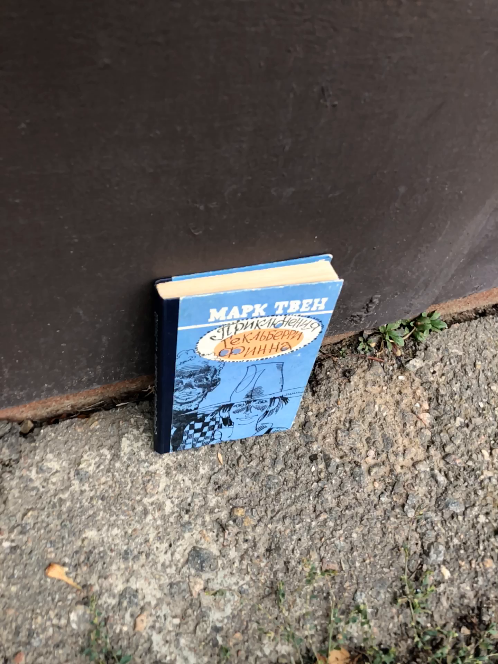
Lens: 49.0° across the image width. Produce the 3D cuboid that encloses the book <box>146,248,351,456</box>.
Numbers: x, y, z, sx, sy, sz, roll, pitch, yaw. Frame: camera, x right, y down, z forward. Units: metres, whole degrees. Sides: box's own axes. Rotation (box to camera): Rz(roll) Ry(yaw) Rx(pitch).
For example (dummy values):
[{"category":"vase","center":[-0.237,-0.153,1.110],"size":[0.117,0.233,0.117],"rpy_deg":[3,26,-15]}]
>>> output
[{"category":"book","center":[-0.007,0.024,0.423],"size":[0.130,0.186,0.030],"rpy_deg":[-7,49,-13]}]
